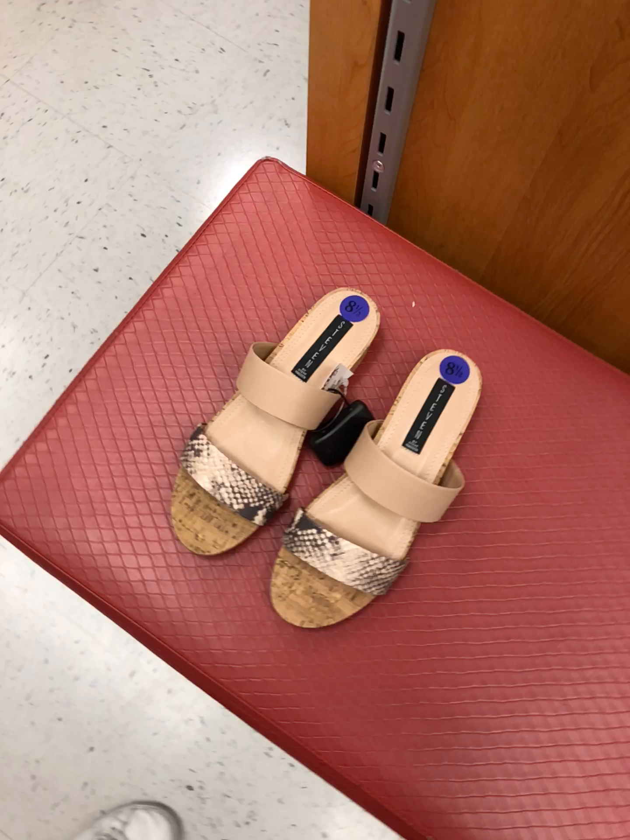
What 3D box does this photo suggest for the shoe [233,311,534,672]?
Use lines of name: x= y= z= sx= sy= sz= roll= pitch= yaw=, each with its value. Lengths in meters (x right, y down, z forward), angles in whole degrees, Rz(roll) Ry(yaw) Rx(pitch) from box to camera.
shoe: x=0.054 y=0.054 z=0.547 sx=0.096 sy=0.085 sz=0.257 roll=33 pitch=75 yaw=8

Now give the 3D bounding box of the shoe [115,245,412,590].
shoe: x=-0.034 y=-0.002 z=0.563 sx=0.095 sy=0.085 sz=0.257 roll=32 pitch=75 yaw=8
